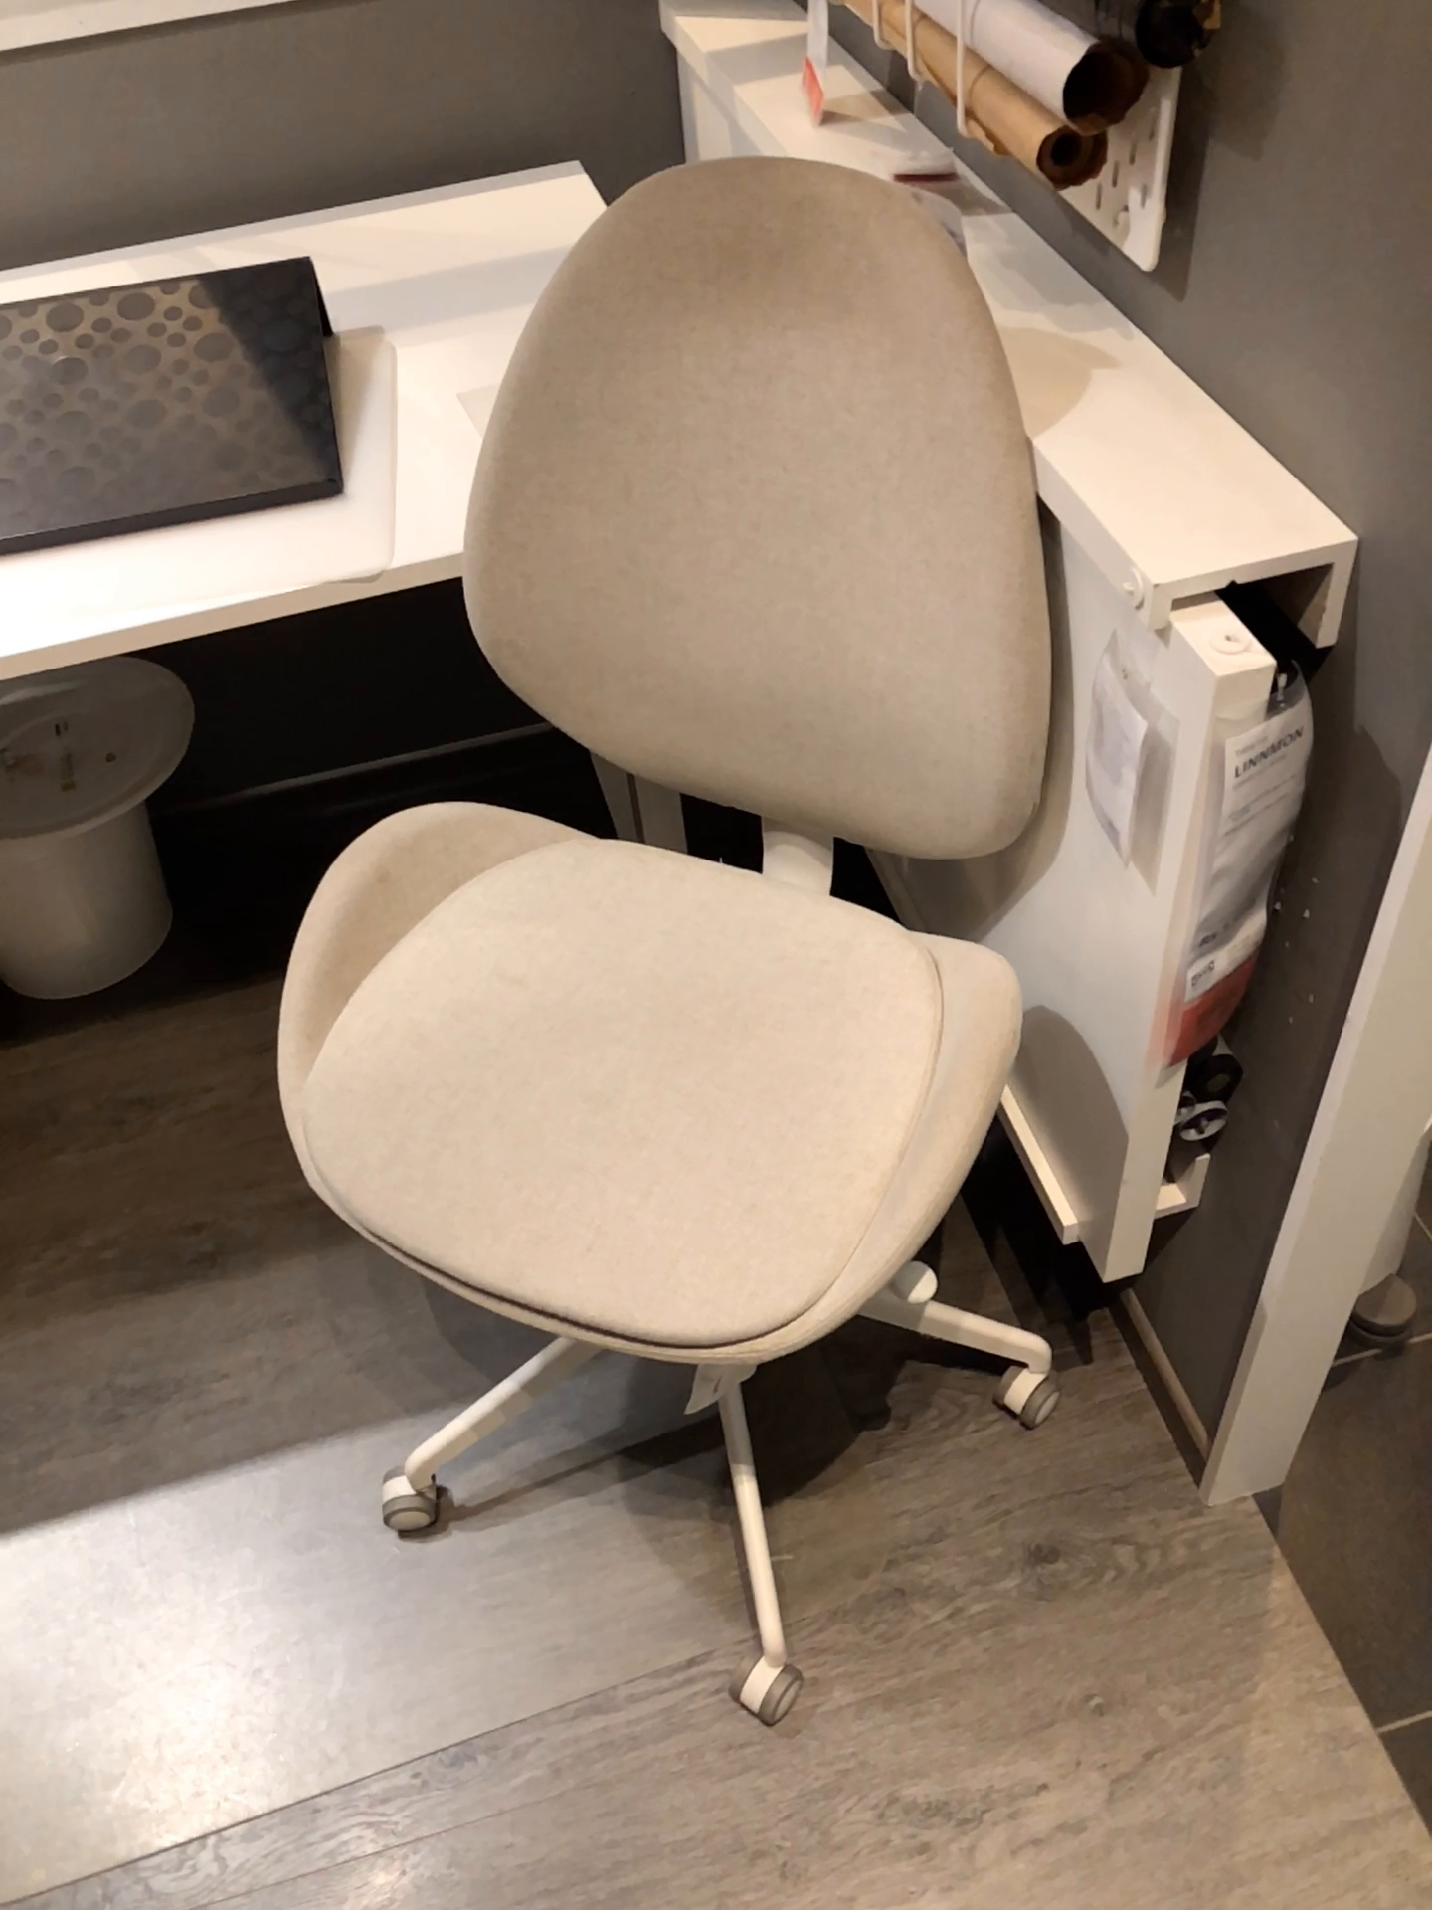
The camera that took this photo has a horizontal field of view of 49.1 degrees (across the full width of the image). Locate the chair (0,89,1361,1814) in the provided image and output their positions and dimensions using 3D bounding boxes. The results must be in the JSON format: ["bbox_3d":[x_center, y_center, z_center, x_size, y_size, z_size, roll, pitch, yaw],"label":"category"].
[{"bbox_3d":[-0.040,0.007,1.198,0.681,0.964,0.683,18,51,22],"label":"chair"}]
